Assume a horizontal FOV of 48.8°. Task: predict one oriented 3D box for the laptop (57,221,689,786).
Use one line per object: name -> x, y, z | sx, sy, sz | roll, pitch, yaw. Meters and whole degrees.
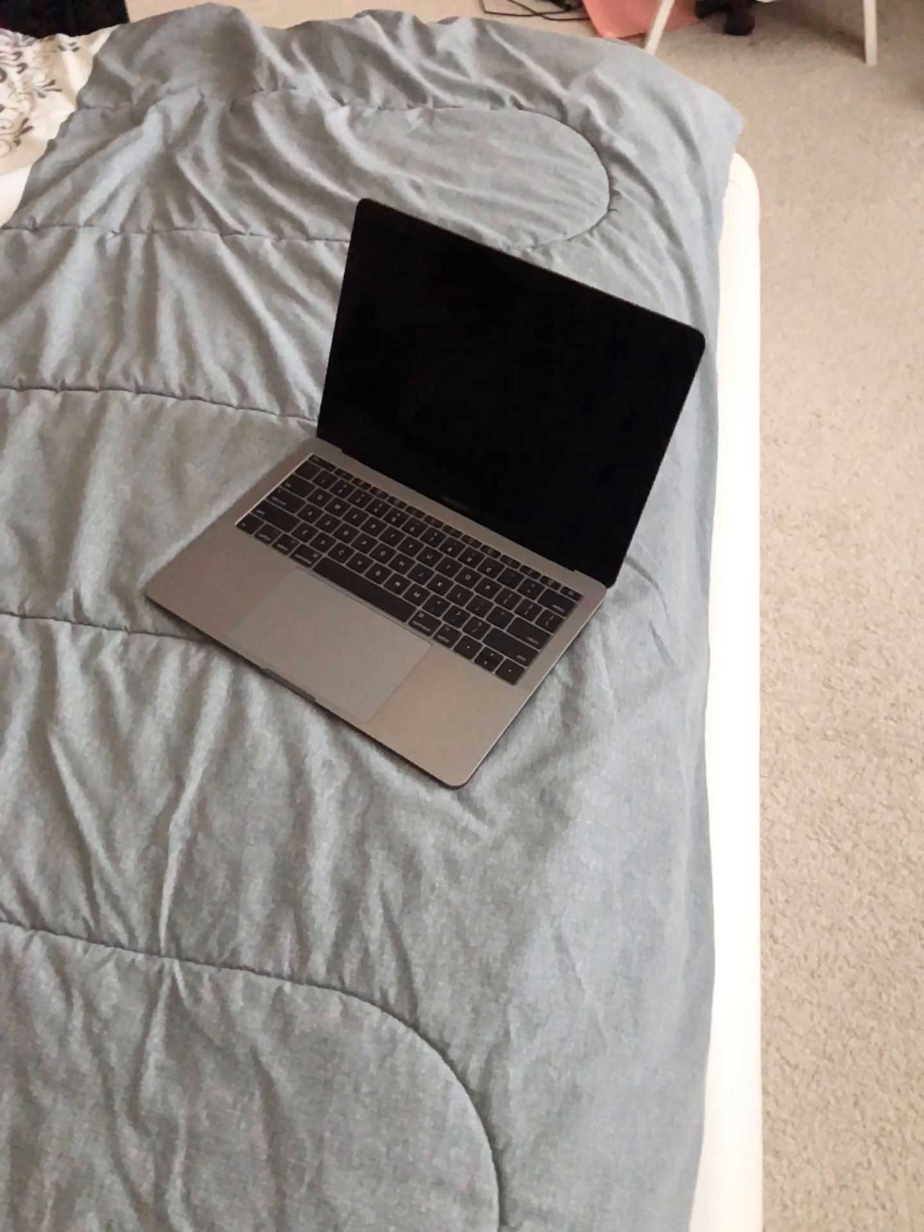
laptop -> -0.045, -0.091, 0.702 | 0.280, 0.159, 0.282 | 29, 60, 20
